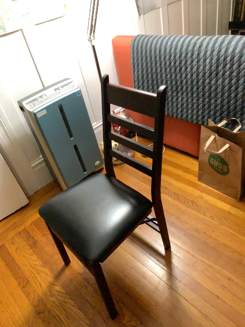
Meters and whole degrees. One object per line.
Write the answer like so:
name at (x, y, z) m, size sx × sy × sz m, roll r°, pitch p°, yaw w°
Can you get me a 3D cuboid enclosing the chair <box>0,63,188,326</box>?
chair at (-0.103, 0.129, 1.056) m, size 0.493 × 0.865 × 0.550 m, roll 25°, pitch 51°, yaw 39°
